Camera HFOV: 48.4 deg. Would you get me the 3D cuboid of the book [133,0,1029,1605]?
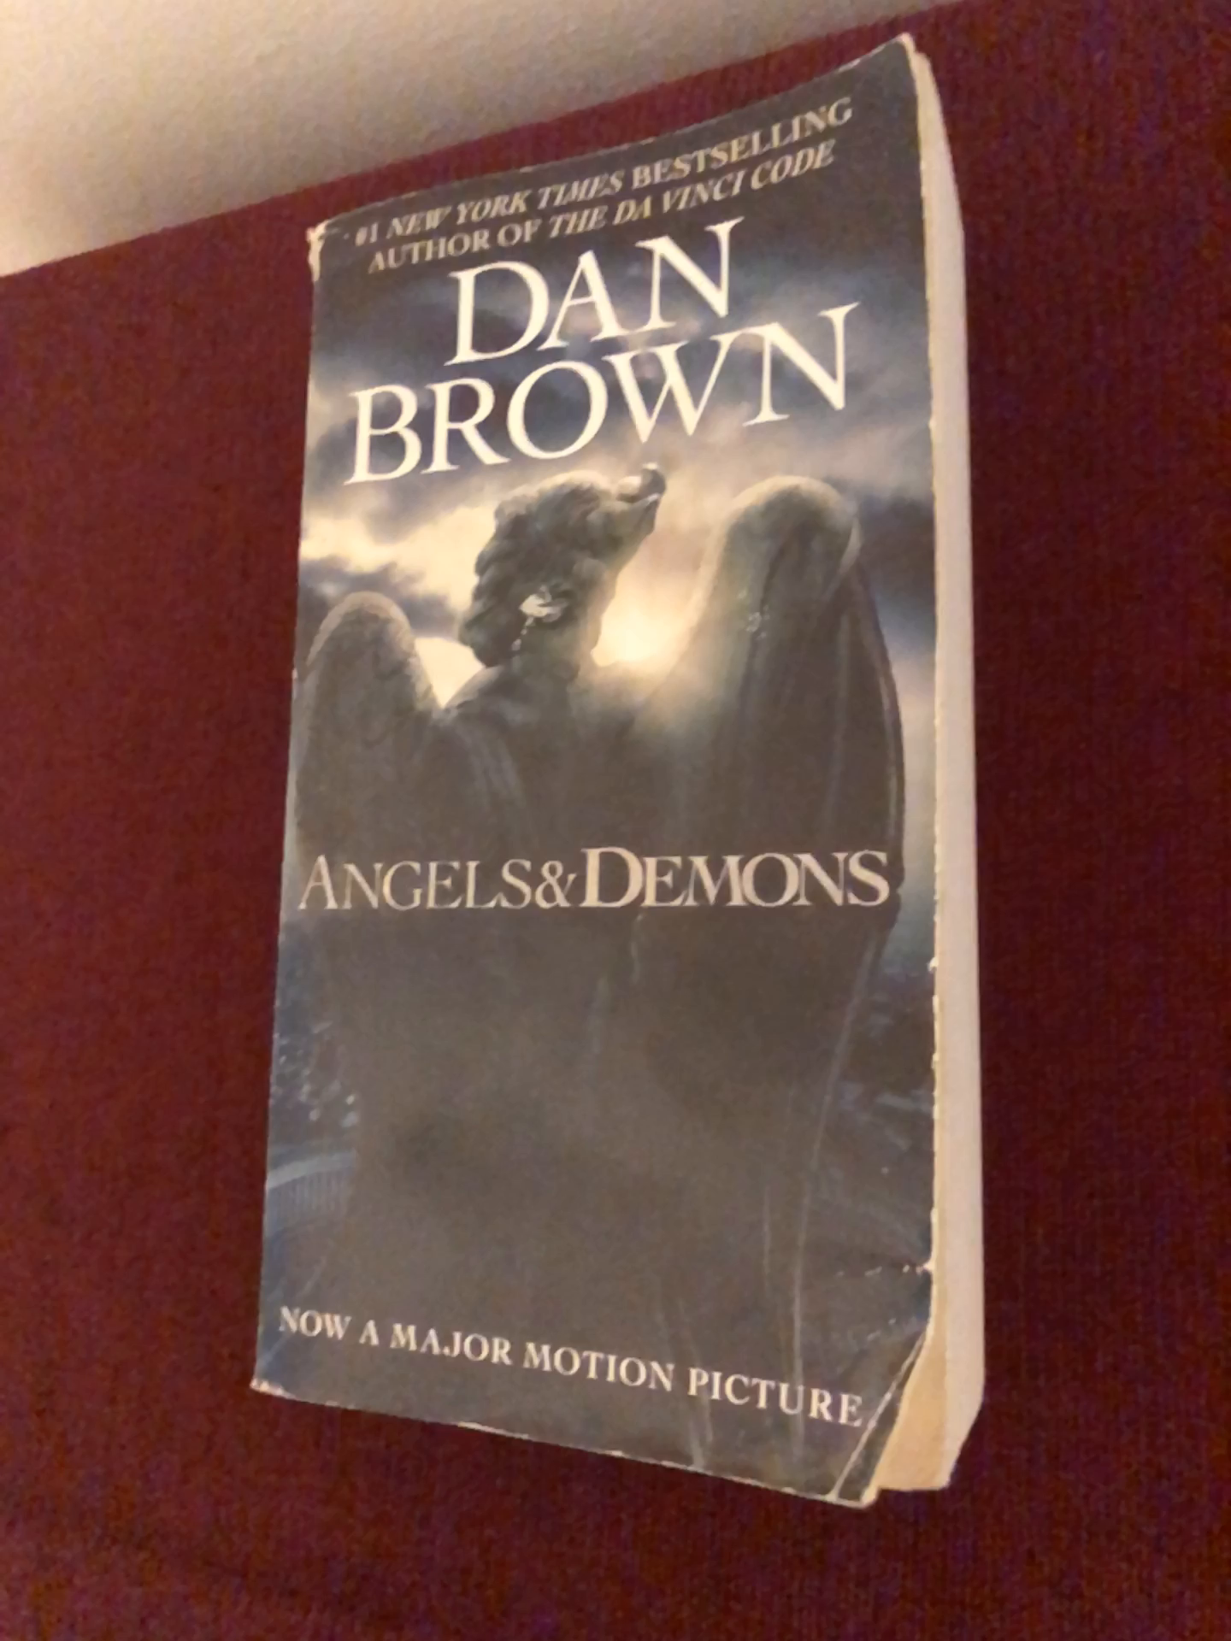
[{"bbox_3d":[-0.006,-0.014,0.208,0.120,0.040,0.210,-4,80,27],"label":"book"}]
